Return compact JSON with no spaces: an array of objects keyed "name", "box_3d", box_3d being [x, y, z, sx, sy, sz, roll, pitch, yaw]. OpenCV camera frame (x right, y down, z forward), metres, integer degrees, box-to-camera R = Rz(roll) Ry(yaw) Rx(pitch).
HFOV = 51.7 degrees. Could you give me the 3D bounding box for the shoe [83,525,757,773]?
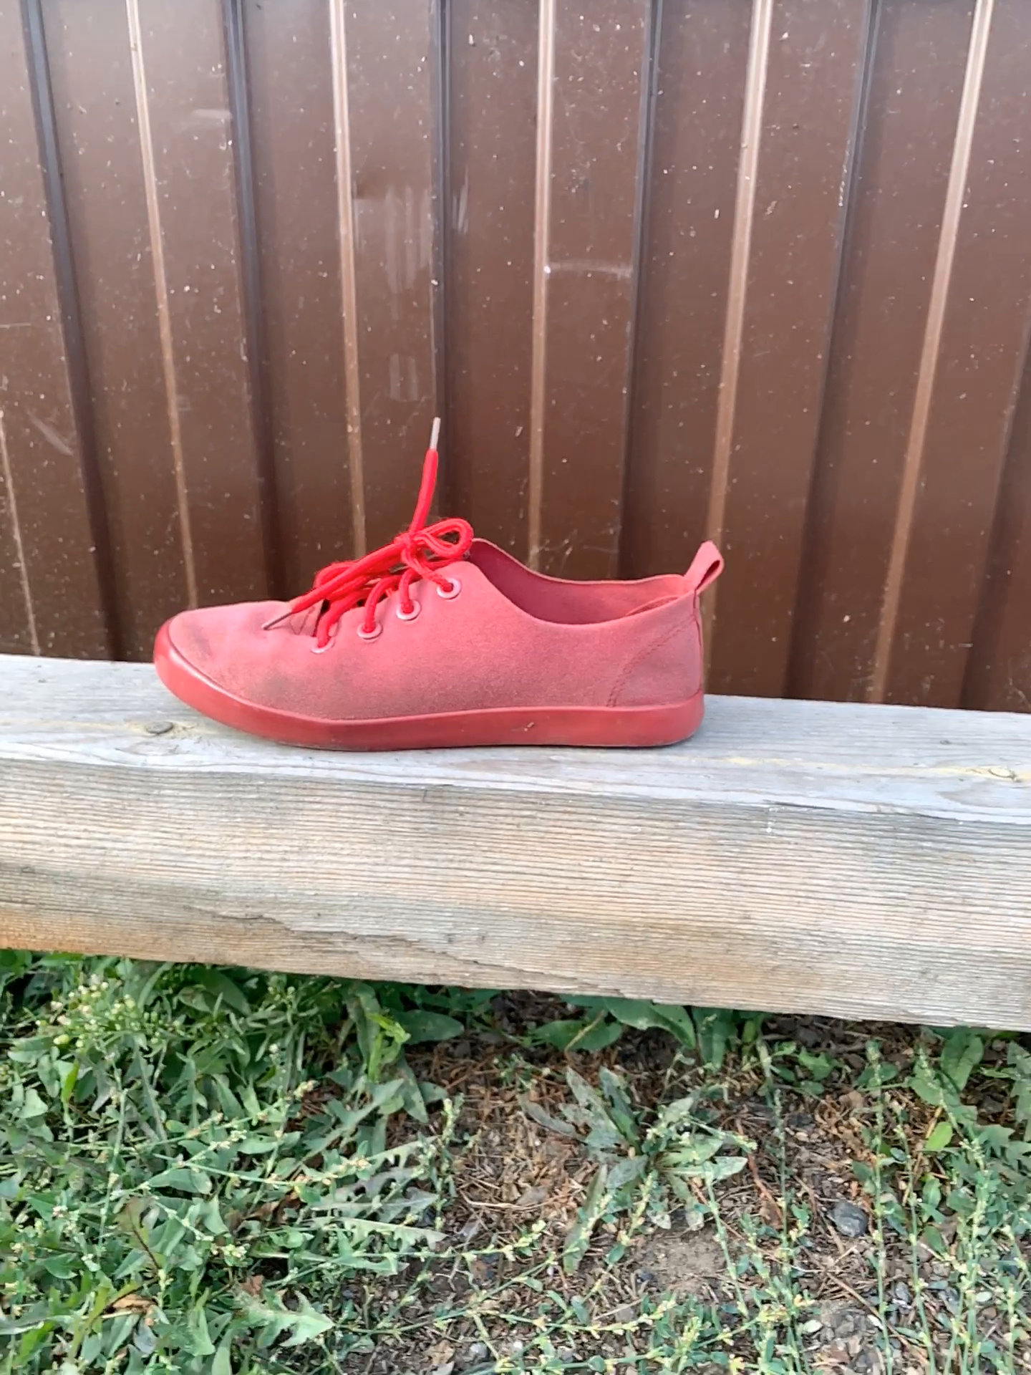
[{"name":"shoe","box_3d":[-0.034,-0.020,0.438,0.240,0.069,0.101,1,21,0]}]
